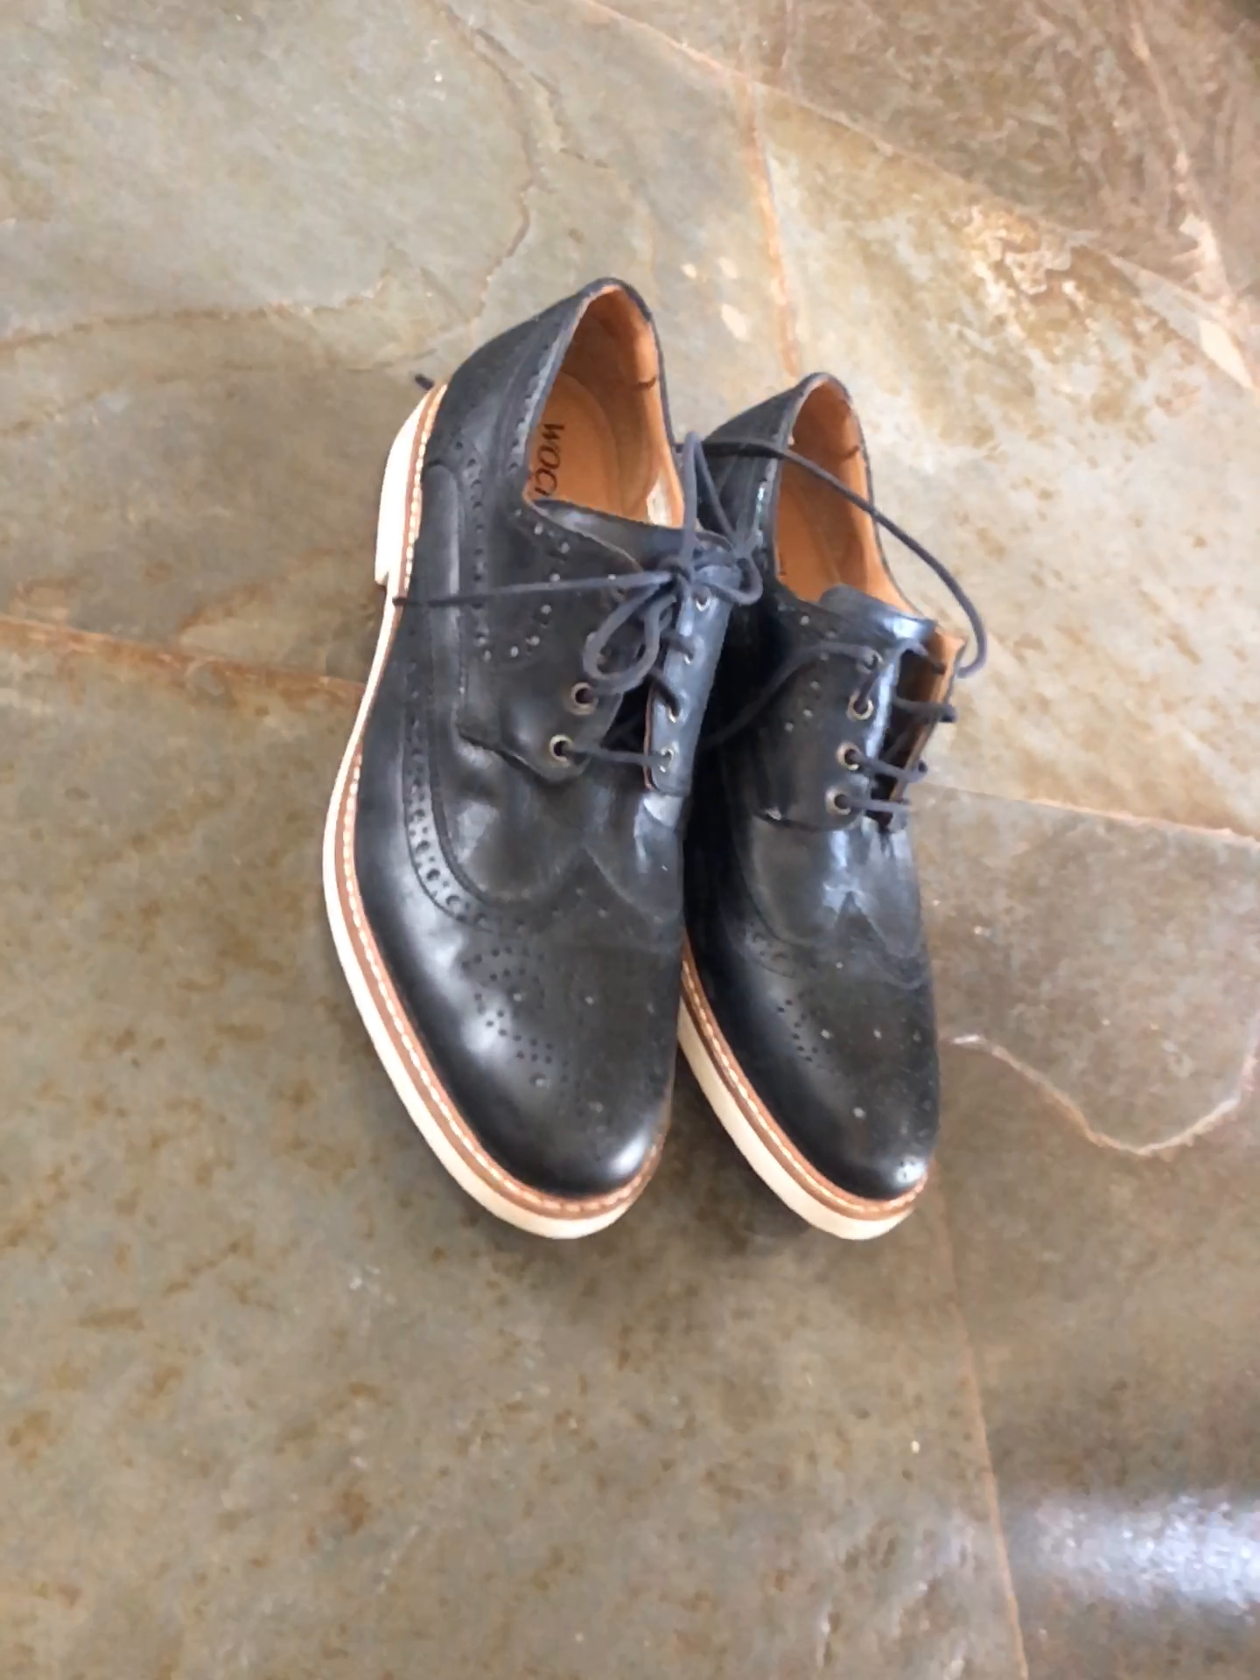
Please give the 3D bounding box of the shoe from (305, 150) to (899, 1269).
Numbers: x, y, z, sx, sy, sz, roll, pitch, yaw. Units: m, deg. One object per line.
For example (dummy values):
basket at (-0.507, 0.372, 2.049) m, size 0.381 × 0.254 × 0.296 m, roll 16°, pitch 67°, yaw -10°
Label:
shoe at (-0.019, -0.035, 0.398) m, size 0.110 × 0.099 × 0.291 m, roll 10°, pitch 62°, yaw -29°

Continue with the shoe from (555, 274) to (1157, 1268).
shoe at (0.061, -0.023, 0.465) m, size 0.111 × 0.099 × 0.301 m, roll 7°, pitch 64°, yaw -31°
